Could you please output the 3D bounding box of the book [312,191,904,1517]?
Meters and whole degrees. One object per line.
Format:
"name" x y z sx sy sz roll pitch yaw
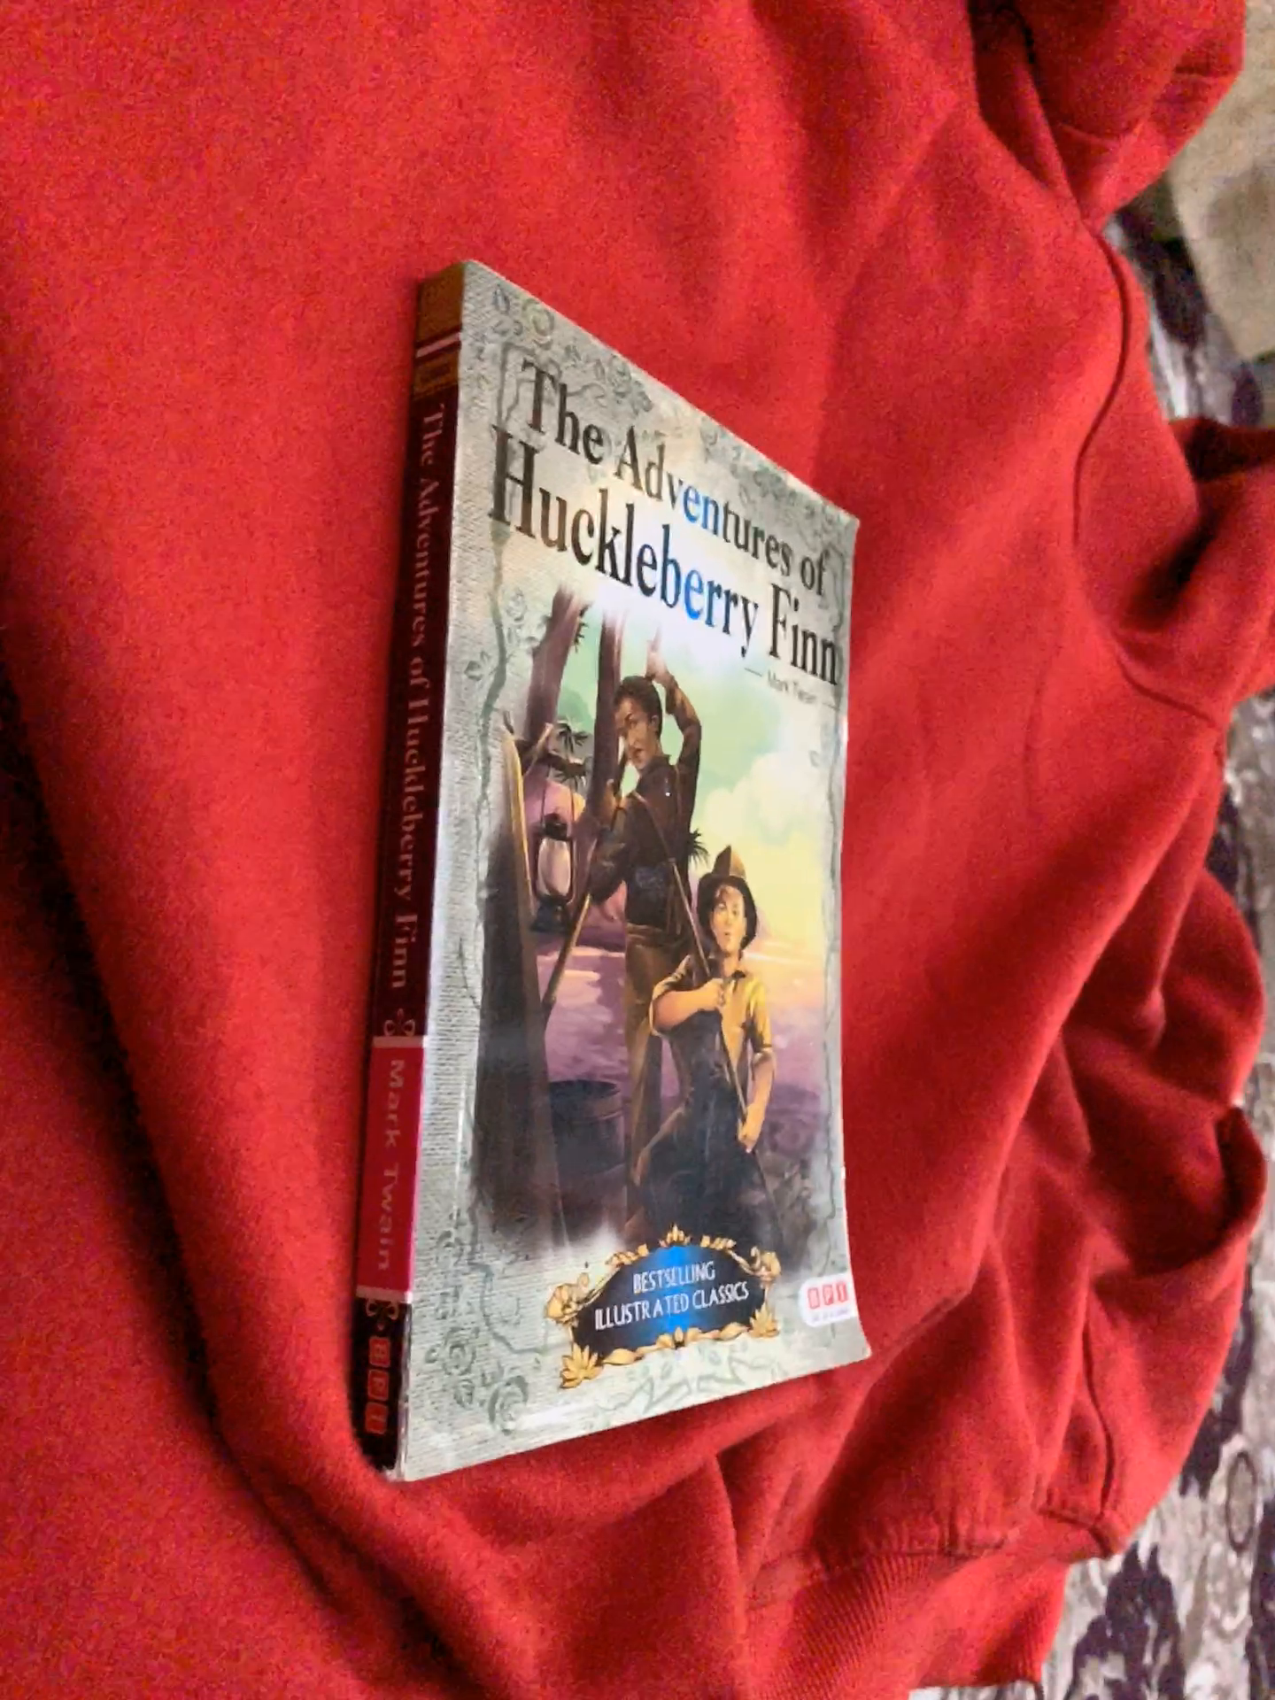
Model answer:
"book" 0.007 0.003 0.235 0.131 0.020 0.180 14 73 -51
